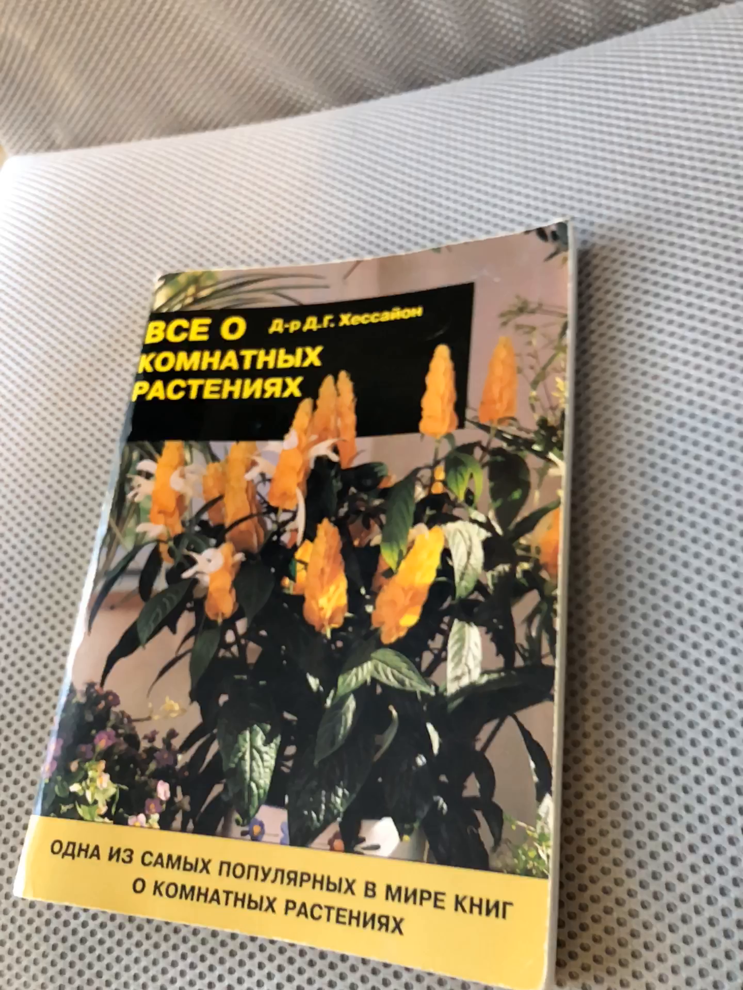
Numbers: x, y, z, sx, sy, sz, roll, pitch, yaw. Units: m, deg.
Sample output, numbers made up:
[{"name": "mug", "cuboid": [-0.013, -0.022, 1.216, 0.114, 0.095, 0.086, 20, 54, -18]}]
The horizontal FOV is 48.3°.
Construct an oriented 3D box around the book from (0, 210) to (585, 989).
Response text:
[{"name": "book", "cuboid": [-0.019, 0.020, 0.272, 0.170, 0.030, 0.231, -2, 67, 19]}]
